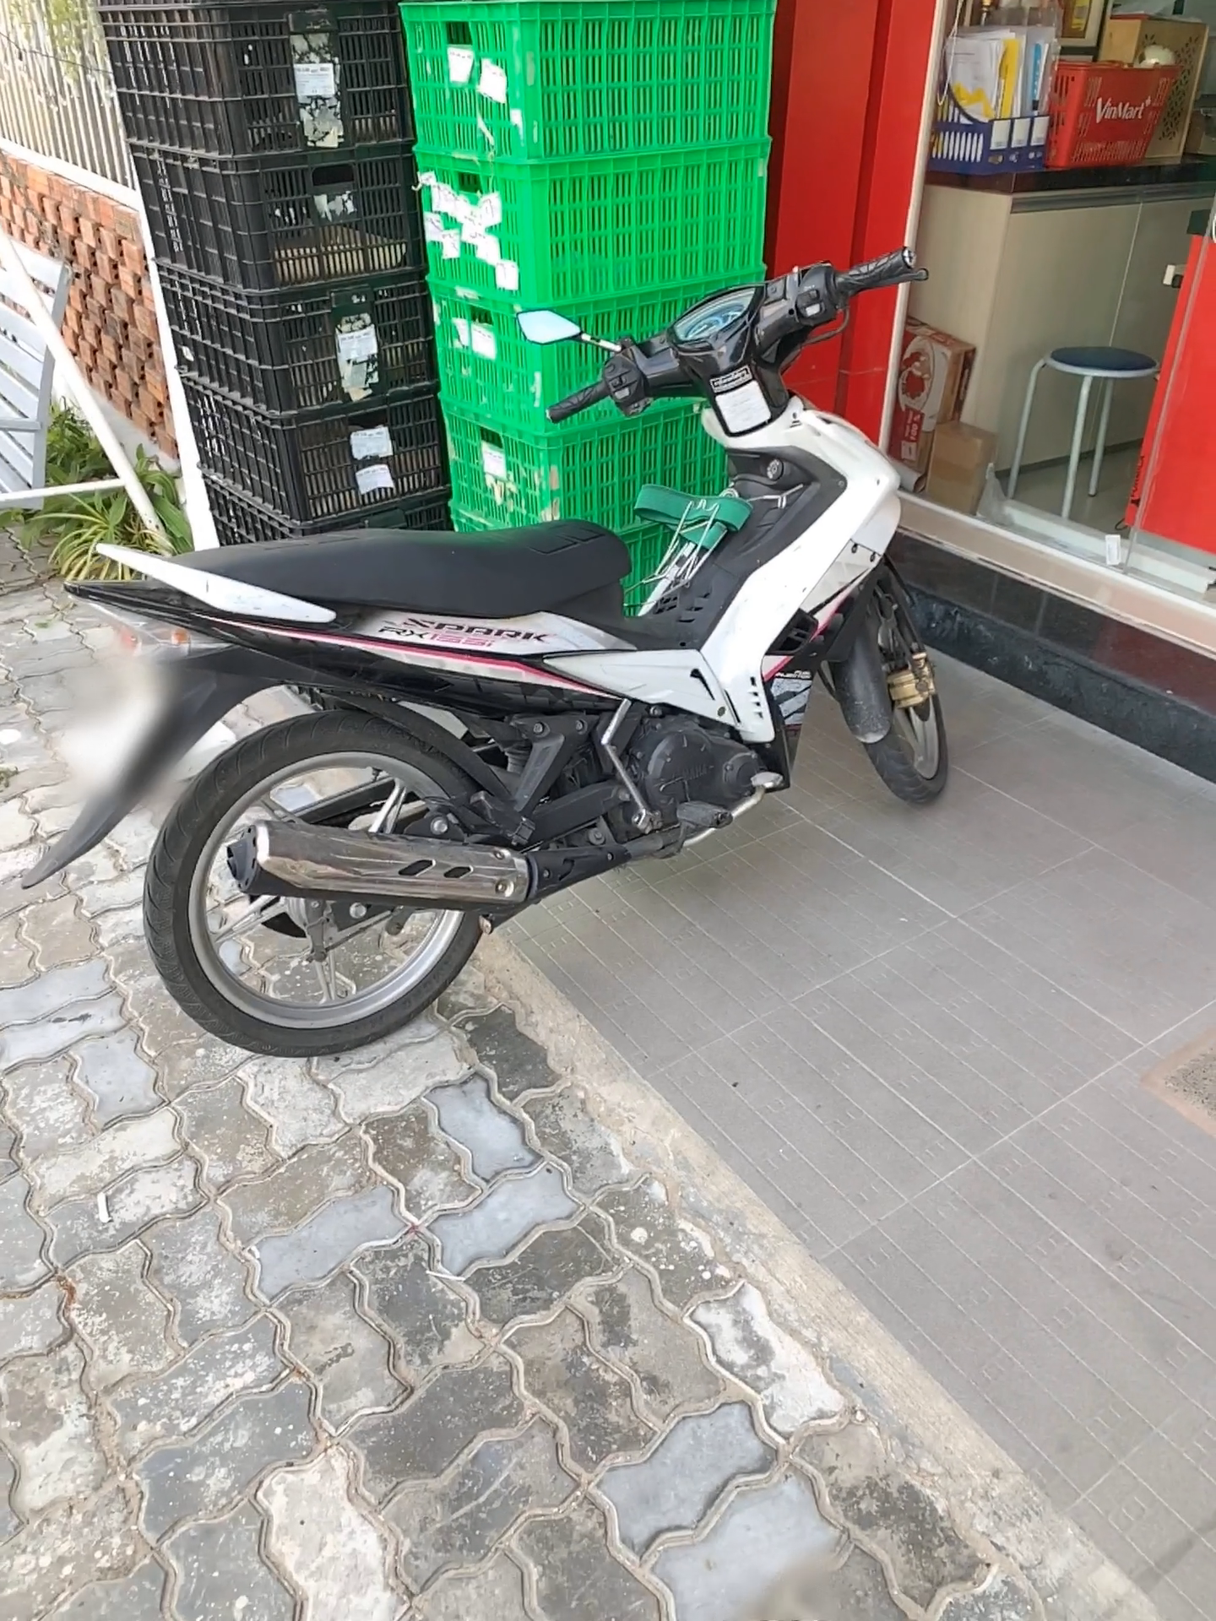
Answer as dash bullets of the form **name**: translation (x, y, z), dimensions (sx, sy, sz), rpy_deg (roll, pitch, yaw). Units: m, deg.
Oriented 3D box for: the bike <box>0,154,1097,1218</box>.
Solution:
- **bike**: translation (-0.027, -0.399, 2.232), dimensions (1.818, 1.186, 0.669), rpy_deg (-26, 41, -33)
